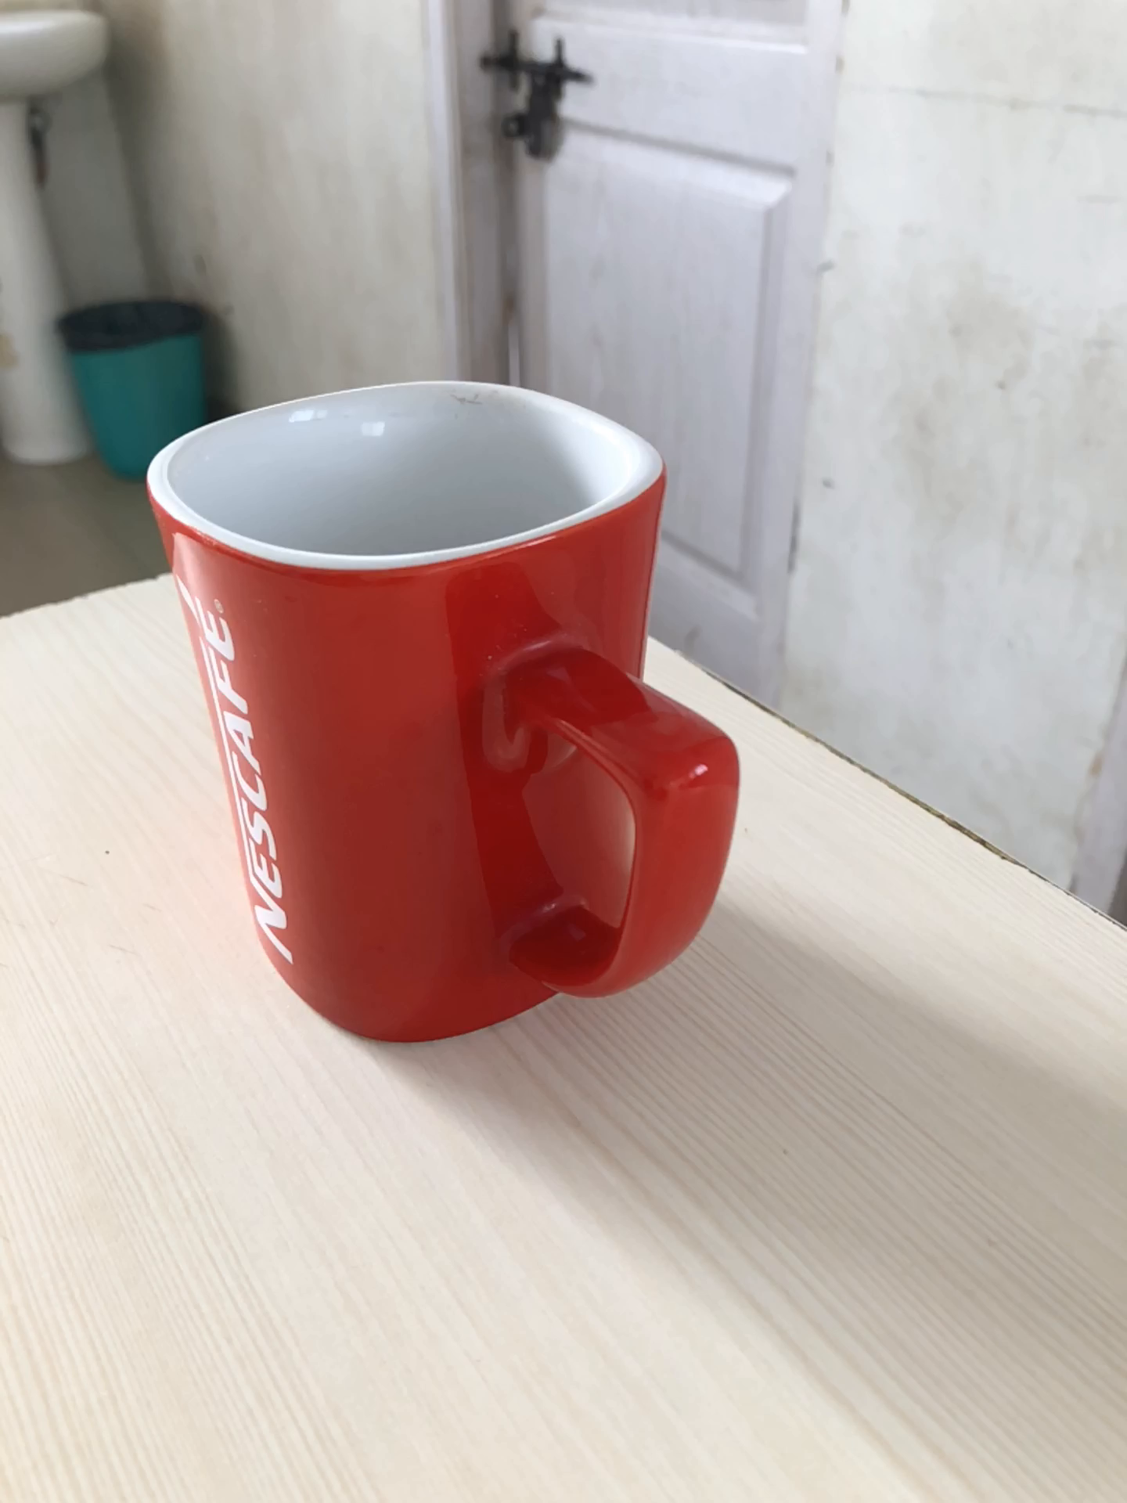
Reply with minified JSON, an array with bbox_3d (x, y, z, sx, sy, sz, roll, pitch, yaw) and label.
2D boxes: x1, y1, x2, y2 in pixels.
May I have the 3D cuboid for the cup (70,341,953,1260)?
[{"bbox_3d":[-0.013,-0.004,0.208,0.080,0.089,0.110,-23,39,-31],"label":"cup"}]
